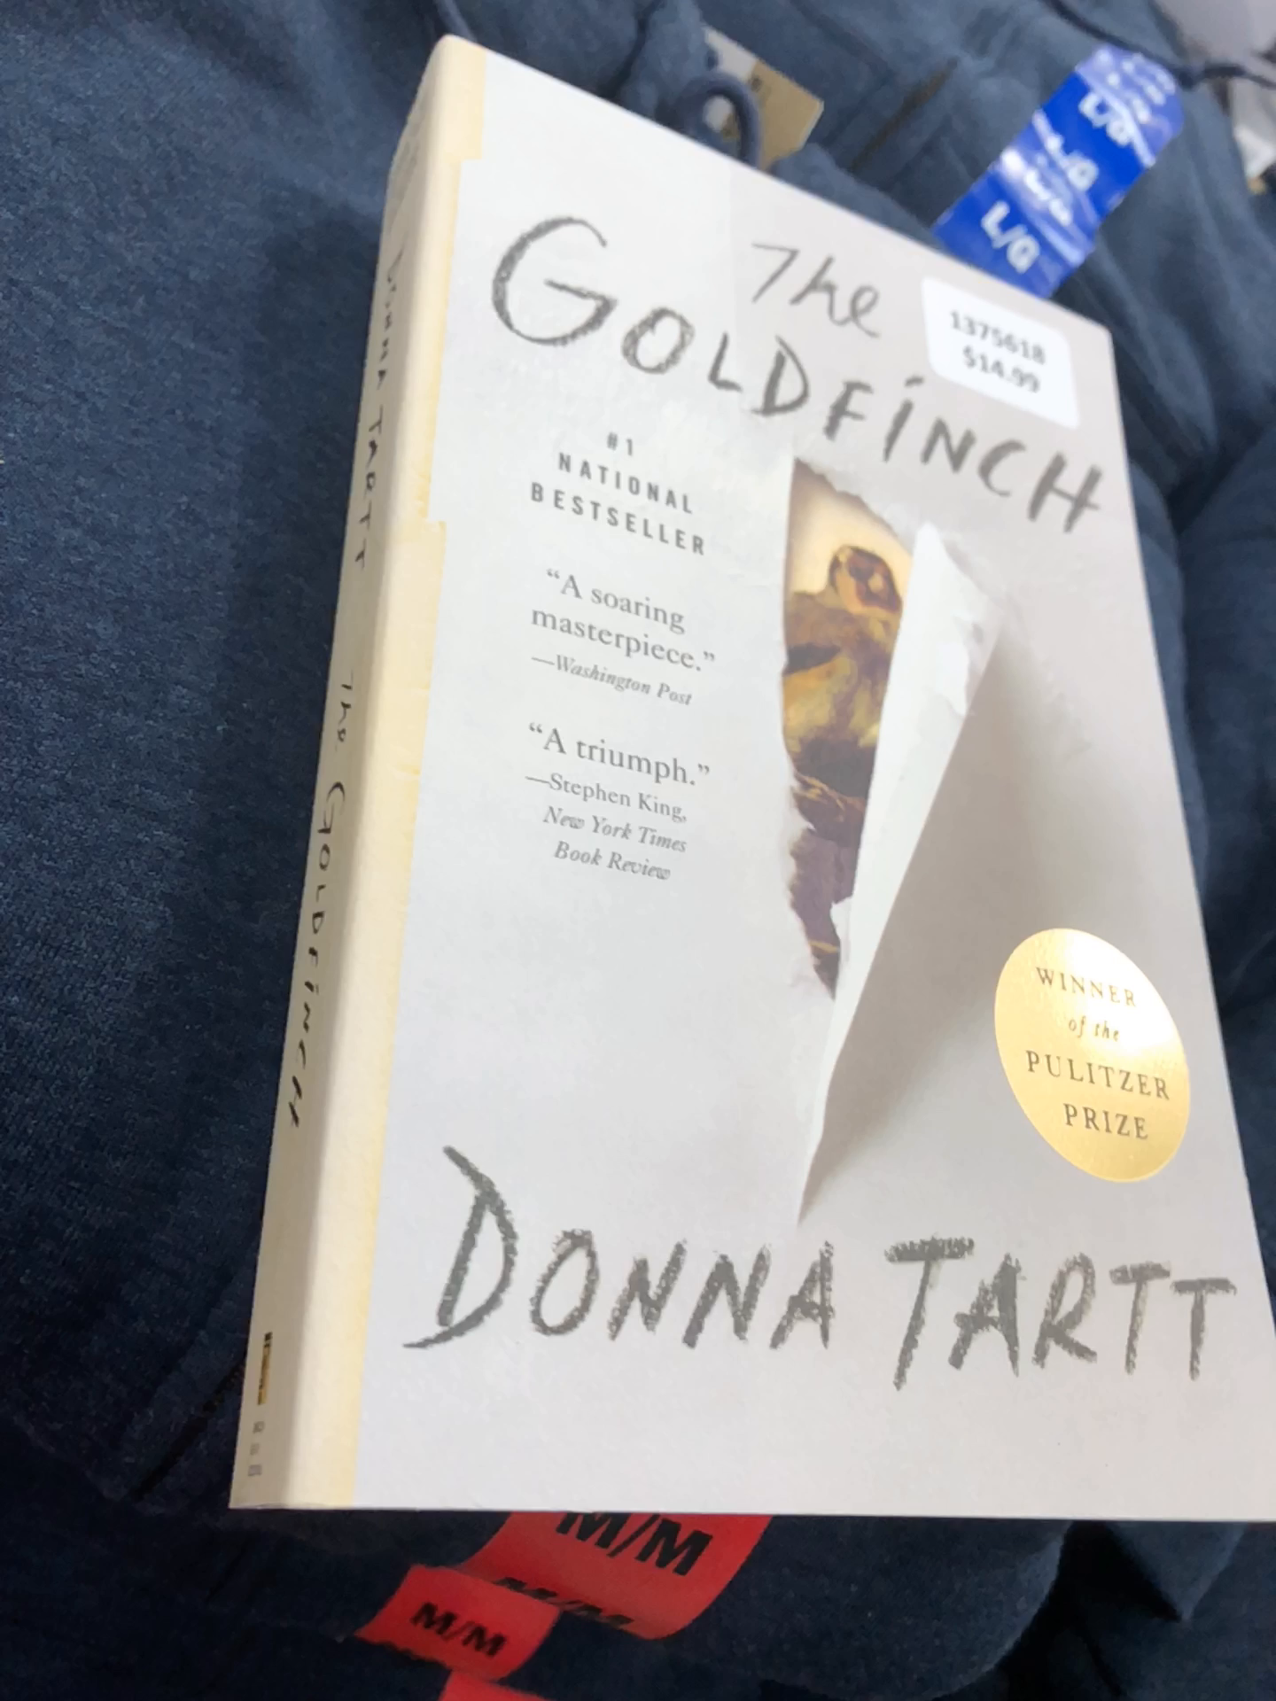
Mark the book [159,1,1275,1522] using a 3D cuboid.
[{"bbox_3d":[0.023,-0.013,0.234,0.158,0.041,0.222,13,62,-24],"label":"book"}]
